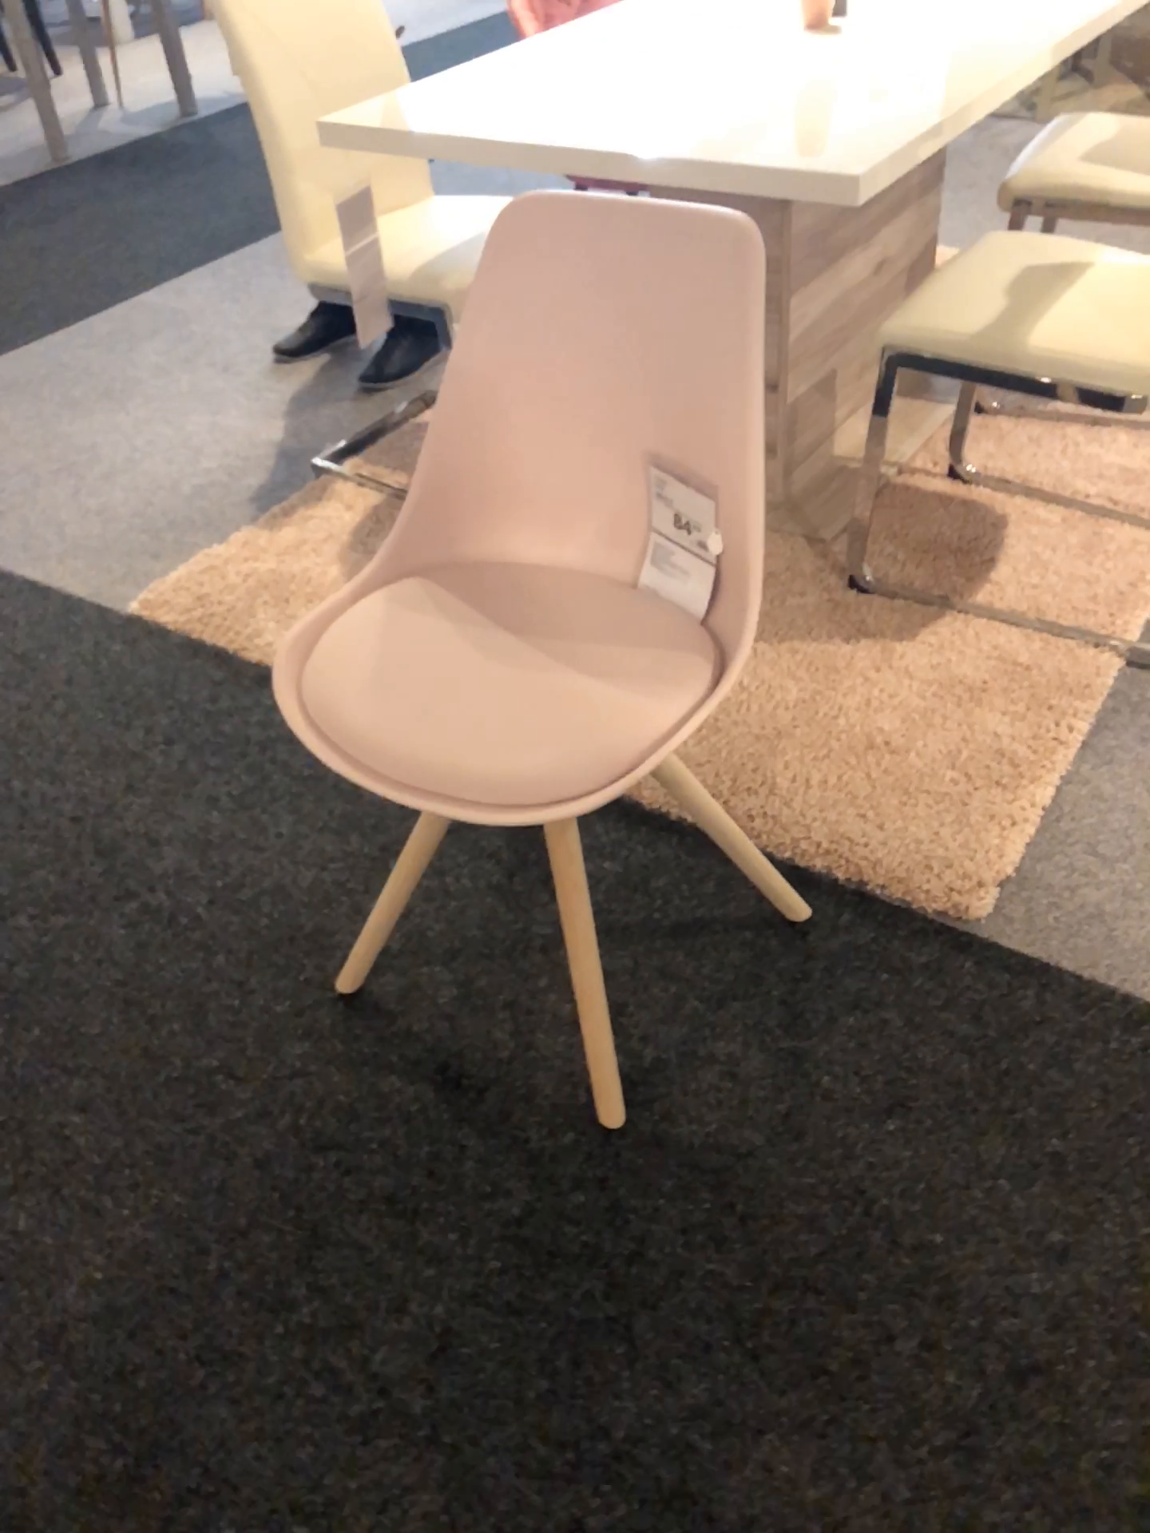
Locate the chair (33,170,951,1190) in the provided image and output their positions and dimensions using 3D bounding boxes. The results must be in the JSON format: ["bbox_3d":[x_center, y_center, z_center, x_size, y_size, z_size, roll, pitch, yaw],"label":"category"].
[{"bbox_3d":[-0.027,-0.117,1.325,0.570,0.766,0.564,20,46,28],"label":"chair"}]
